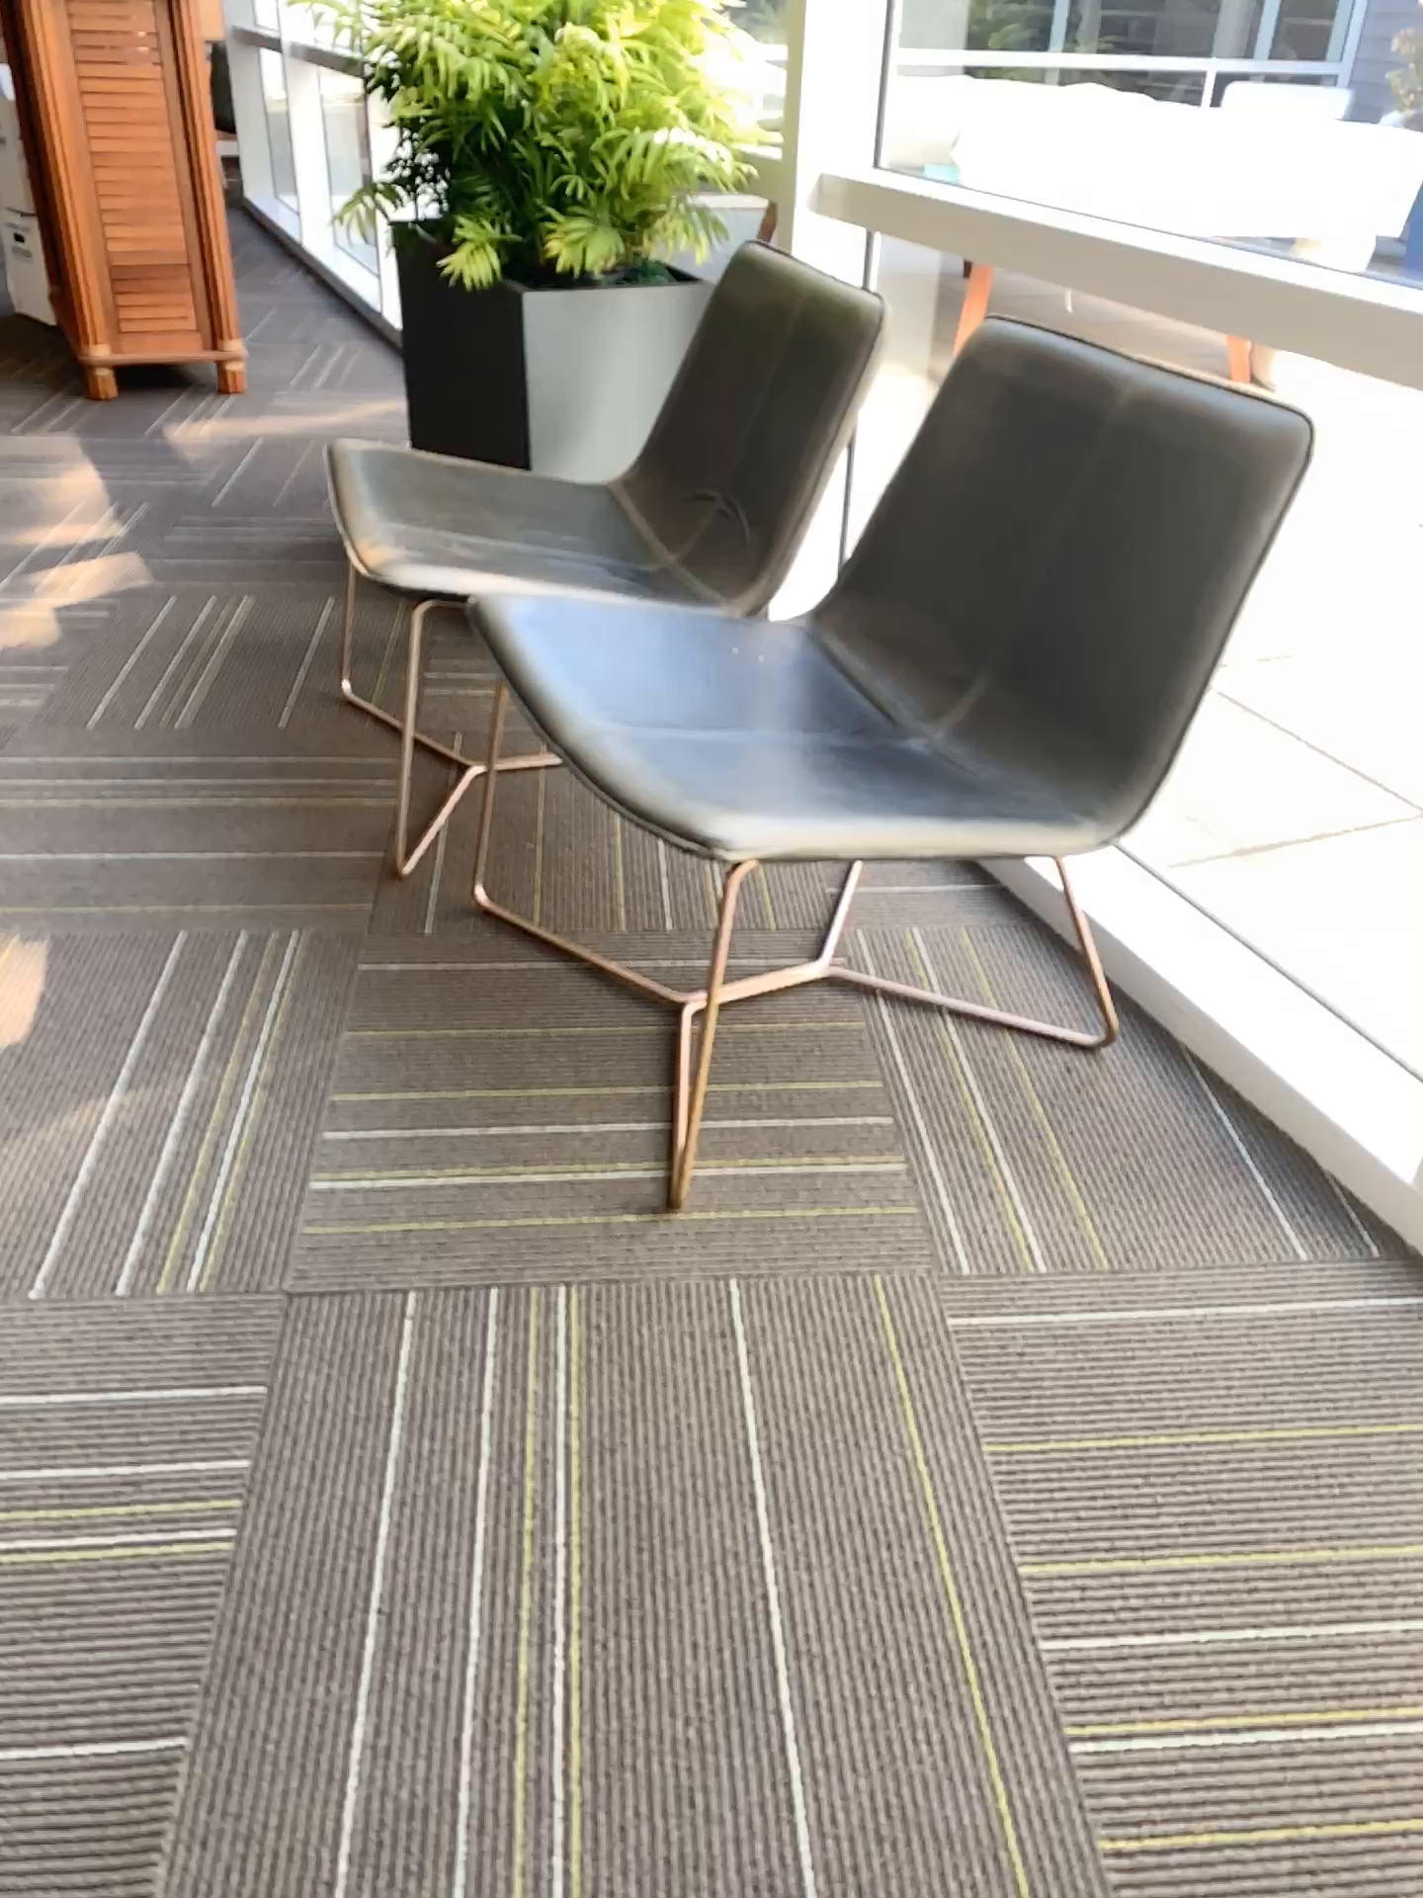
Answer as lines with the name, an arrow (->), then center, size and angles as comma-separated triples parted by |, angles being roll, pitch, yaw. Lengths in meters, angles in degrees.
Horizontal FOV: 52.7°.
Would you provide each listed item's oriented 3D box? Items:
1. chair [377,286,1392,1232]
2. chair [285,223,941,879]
chair -> 0.107, -0.275, 1.542 | 0.690, 0.676, 0.704 | -14, 36, -23
chair -> -0.182, -0.609, 2.041 | 0.690, 0.676, 0.705 | -8, 35, -16
